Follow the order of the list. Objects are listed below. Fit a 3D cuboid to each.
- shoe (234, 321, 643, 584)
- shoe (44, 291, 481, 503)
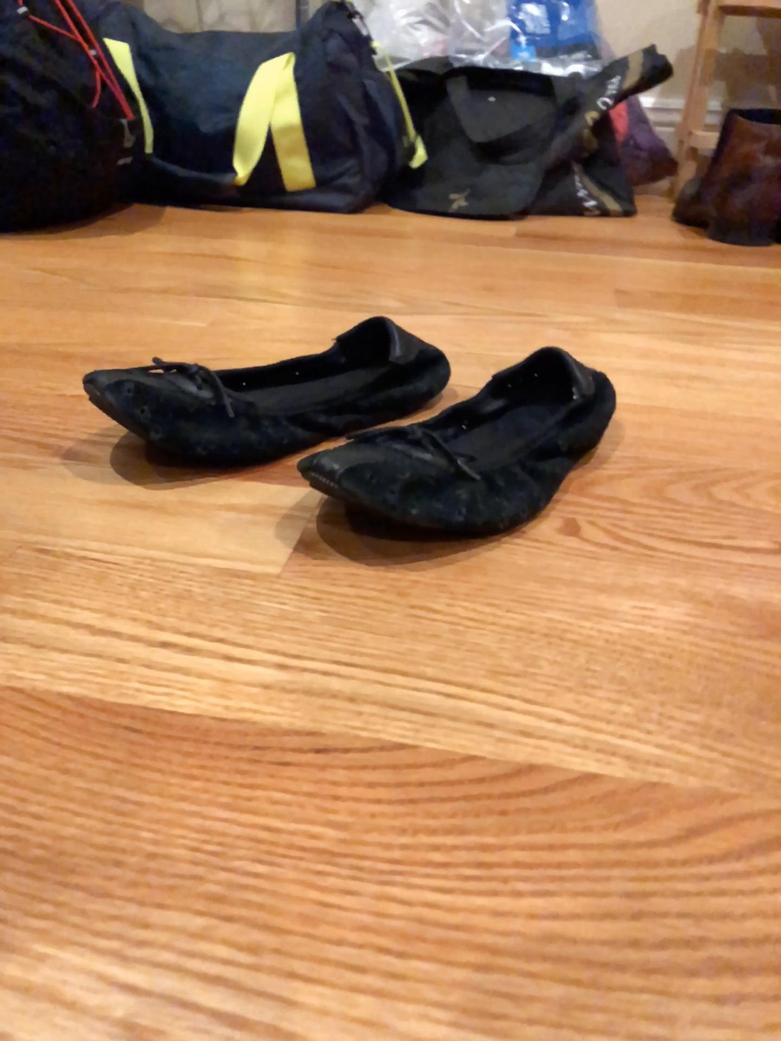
[{"bbox_3d":[0.036,-0.048,0.430,0.093,0.046,0.221,21,32,31],"label":"shoe"},{"bbox_3d":[-0.062,-0.080,0.483,0.221,0.050,0.100,-22,36,-39],"label":"shoe"}]
